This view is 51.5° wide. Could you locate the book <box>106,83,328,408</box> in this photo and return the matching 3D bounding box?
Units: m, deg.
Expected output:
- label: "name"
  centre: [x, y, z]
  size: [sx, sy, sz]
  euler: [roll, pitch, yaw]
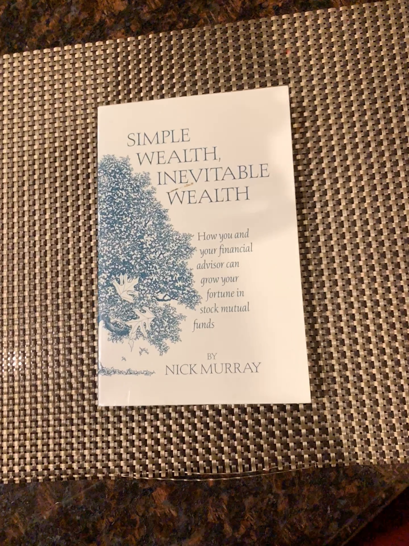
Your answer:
- label: "book"
  centre: [0.005, -0.019, 0.290]
  size: [0.141, 0.021, 0.210]
  euler: [-2, 83, 8]
